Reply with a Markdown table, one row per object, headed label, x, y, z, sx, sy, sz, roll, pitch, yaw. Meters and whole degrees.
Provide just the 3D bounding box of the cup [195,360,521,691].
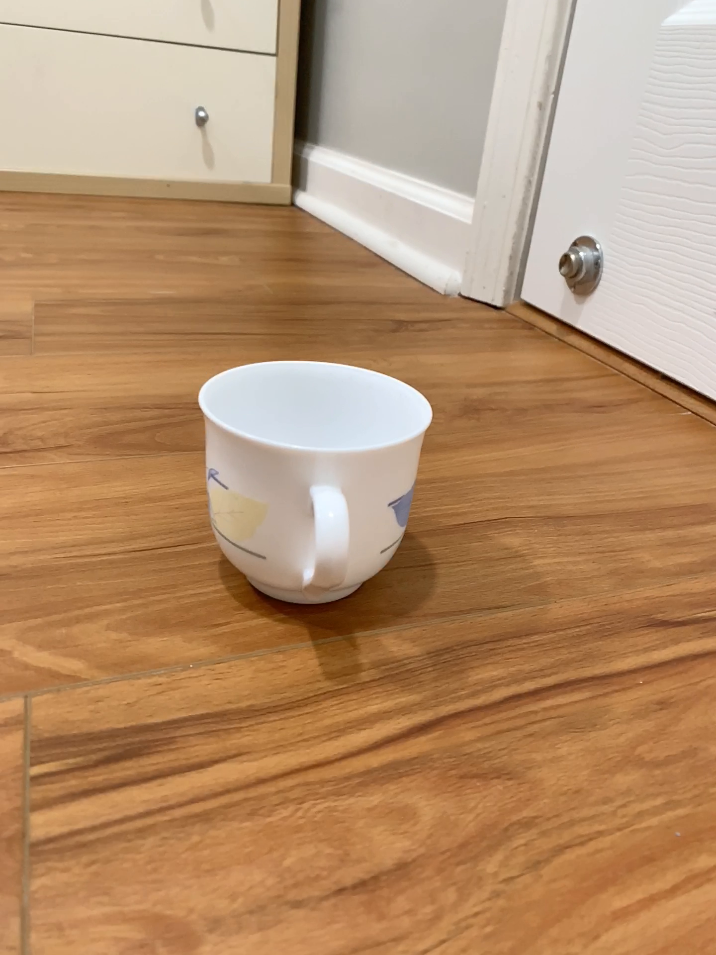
| label | x | y | z | sx | sy | sz | roll | pitch | yaw |
| --- | --- | --- | --- | --- | --- | --- | --- | --- | --- |
| cup | -0.010 | 0.008 | 0.254 | 0.083 | 0.063 | 0.104 | -2 | 29 | -15 |
